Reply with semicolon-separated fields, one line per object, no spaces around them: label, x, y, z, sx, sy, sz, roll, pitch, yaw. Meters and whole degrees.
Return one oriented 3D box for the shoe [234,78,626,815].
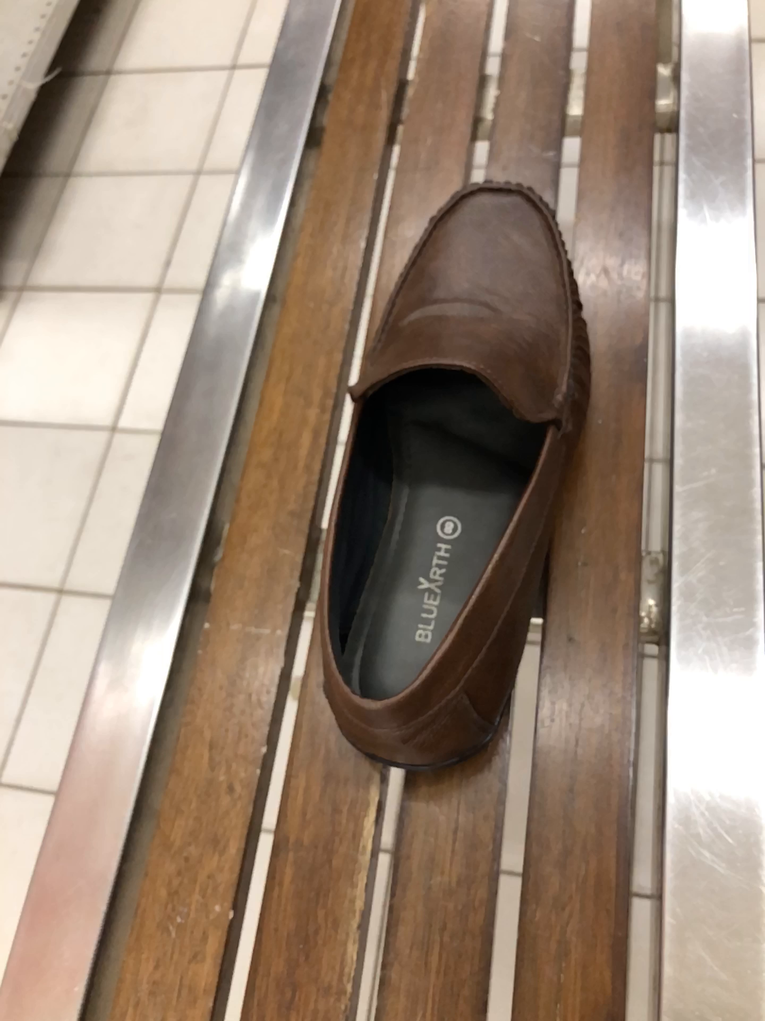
shoe;0.038;-0.039;0.372;0.104;0.093;0.302;5;66;14
